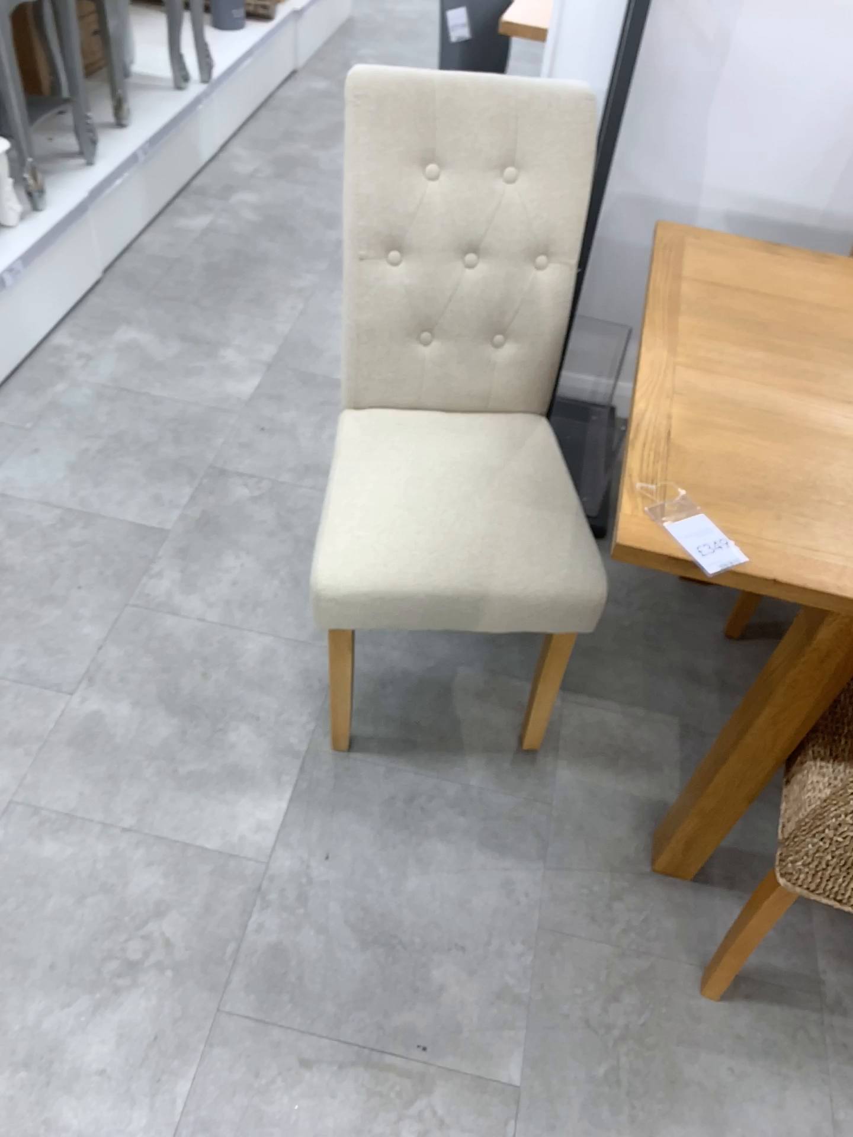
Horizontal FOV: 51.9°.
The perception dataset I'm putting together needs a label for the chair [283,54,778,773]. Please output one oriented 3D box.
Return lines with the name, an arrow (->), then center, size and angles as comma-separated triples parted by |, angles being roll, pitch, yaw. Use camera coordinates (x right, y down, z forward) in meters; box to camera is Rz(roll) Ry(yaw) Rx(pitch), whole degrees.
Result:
chair -> 0.057, -0.188, 1.370 | 0.479, 0.896, 0.615 | 2, 46, -5
